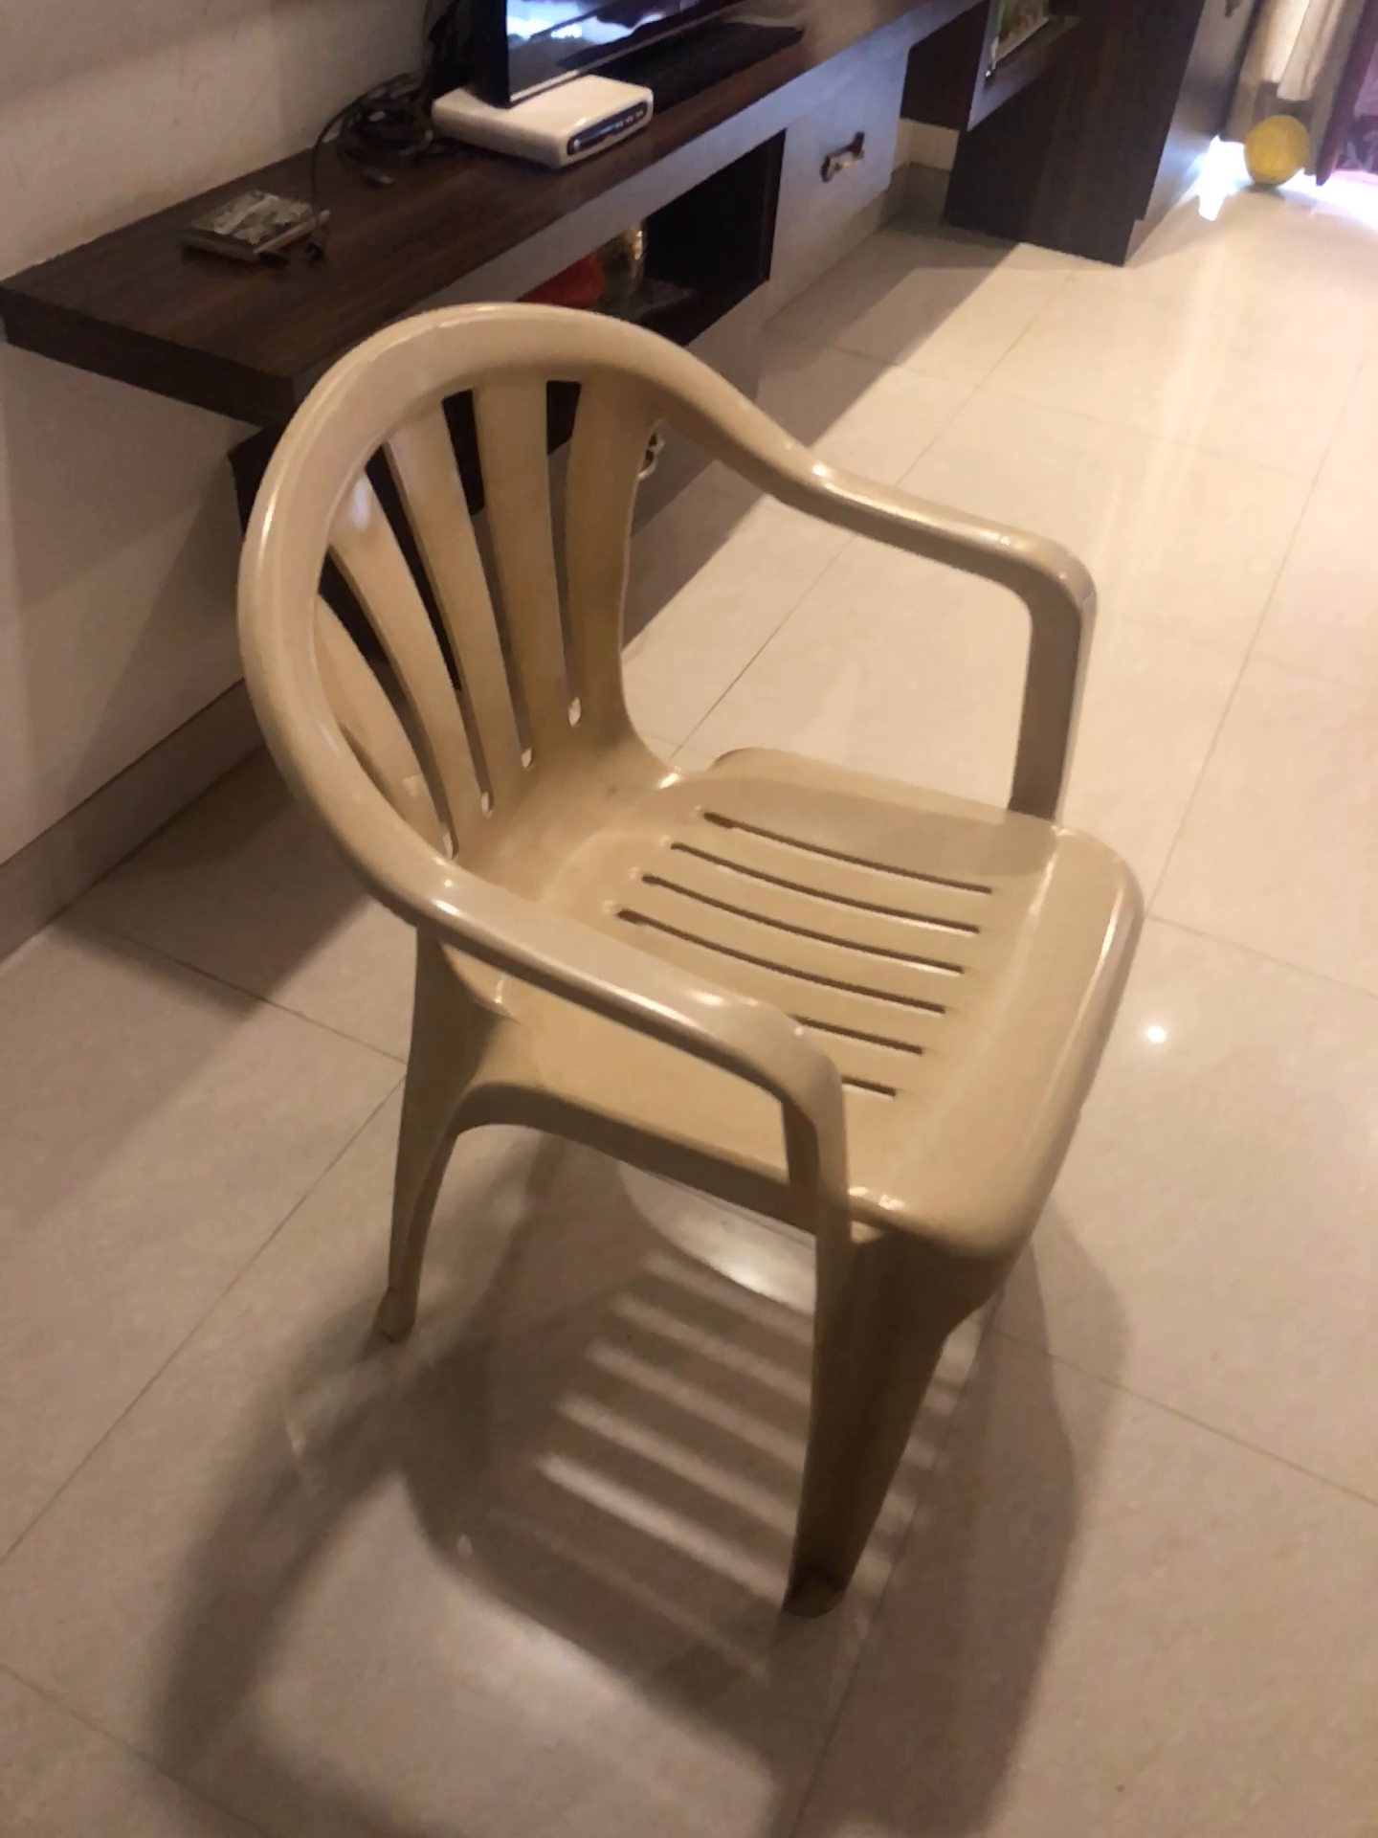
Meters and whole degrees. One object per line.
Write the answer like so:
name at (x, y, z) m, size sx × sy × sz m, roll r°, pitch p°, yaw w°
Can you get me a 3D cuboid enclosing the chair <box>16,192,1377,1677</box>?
chair at (0.031, 0.012, 1.116) m, size 0.590 × 0.774 × 0.574 m, roll 20°, pitch 46°, yaw 14°
